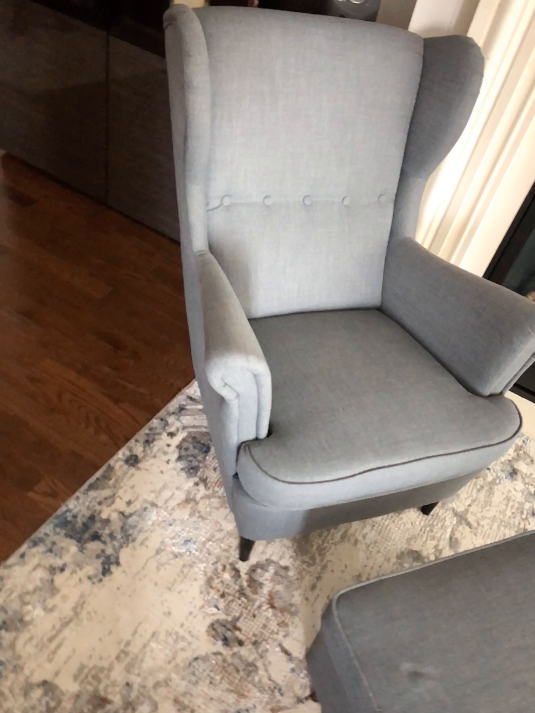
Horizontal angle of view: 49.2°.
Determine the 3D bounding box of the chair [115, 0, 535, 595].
[{"bbox_3d":[0.135,-0.176,1.354,0.801,0.966,0.852,-8,47,-22],"label":"chair"}]
